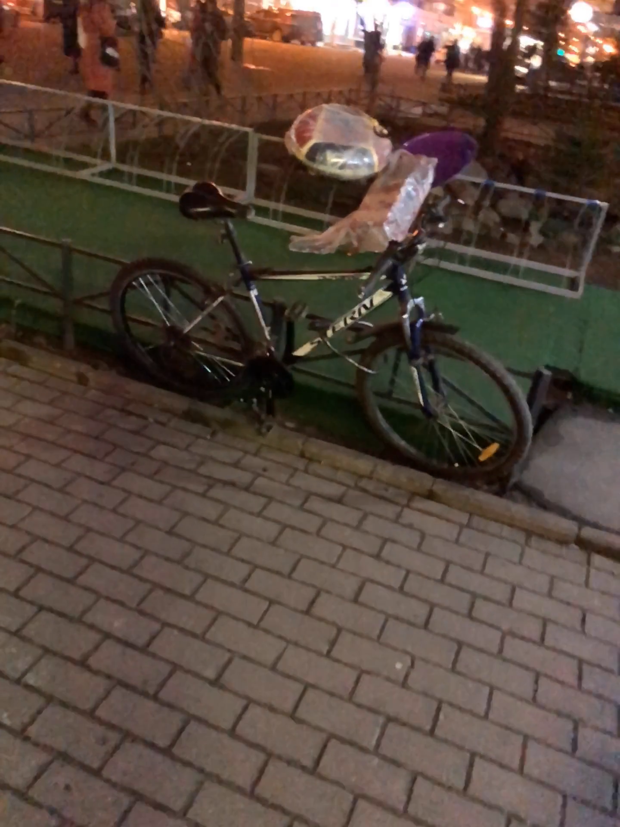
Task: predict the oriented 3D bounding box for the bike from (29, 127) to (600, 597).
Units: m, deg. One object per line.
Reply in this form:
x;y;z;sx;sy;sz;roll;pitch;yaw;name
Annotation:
-0.050;-0.231;2.032;1.458;0.883;0.532;20;30;17;bike
